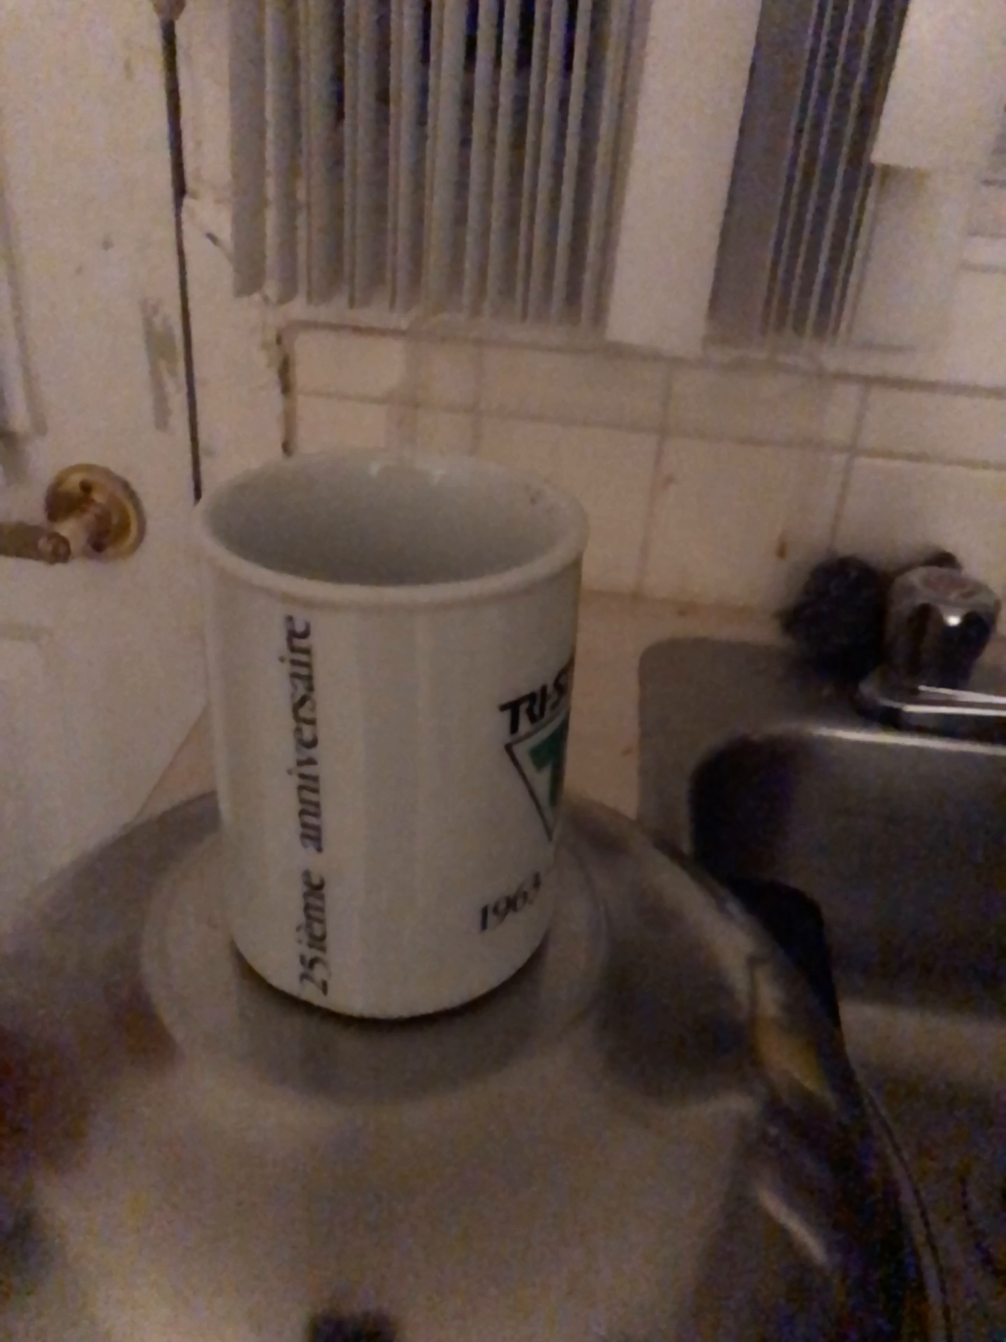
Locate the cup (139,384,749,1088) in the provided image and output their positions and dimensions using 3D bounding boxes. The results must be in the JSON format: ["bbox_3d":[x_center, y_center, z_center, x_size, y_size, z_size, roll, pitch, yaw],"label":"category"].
[{"bbox_3d":[-0.008,0.004,0.251,0.070,0.099,0.117,21,34,26],"label":"cup"}]
